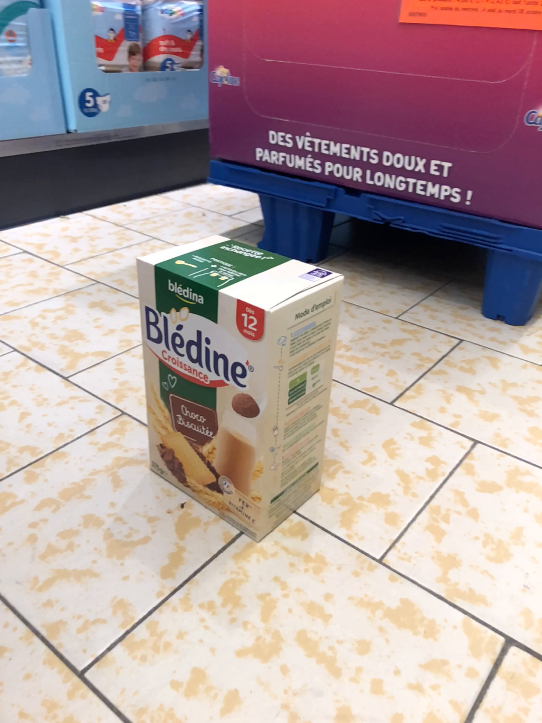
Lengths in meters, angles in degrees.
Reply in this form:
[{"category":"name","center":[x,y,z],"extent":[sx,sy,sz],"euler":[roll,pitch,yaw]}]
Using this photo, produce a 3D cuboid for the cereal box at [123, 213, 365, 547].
[{"category":"cereal box","center":[-0.022,0.007,0.411],"extent":[0.130,0.179,0.080],"euler":[24,36,34]}]
